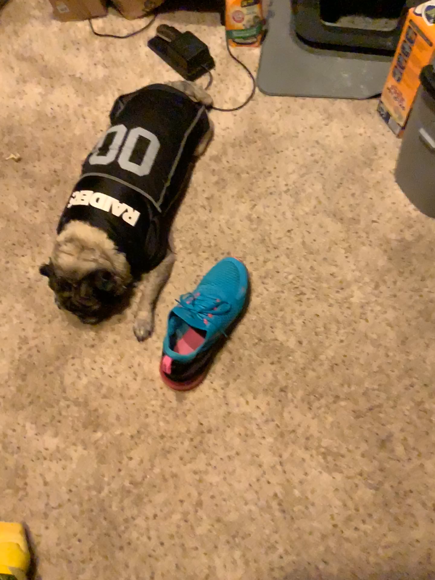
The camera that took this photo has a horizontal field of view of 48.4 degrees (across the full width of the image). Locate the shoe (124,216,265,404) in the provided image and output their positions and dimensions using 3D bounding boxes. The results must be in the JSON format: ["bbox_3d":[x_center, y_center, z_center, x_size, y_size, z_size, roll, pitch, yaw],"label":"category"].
[{"bbox_3d":[-0.034,0.041,1.005,0.130,0.140,0.340,24,72,15],"label":"shoe"}]
